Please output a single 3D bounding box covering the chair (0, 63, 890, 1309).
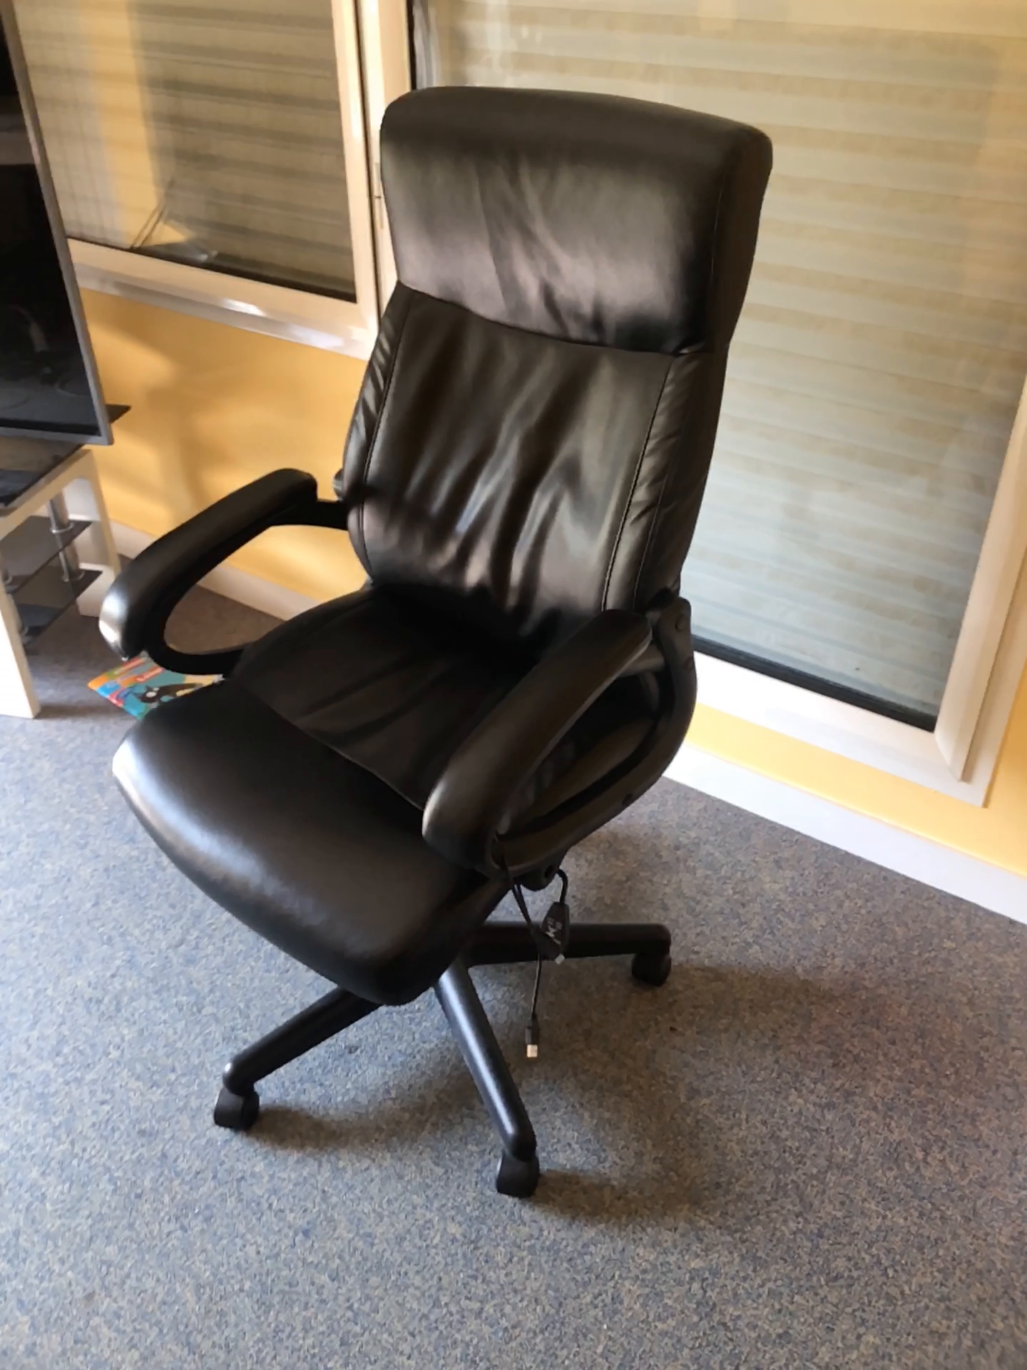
[{"bbox_3d":[-0.119,-0.050,1.340,0.660,1.113,0.754,24,41,30],"label":"chair"}]
